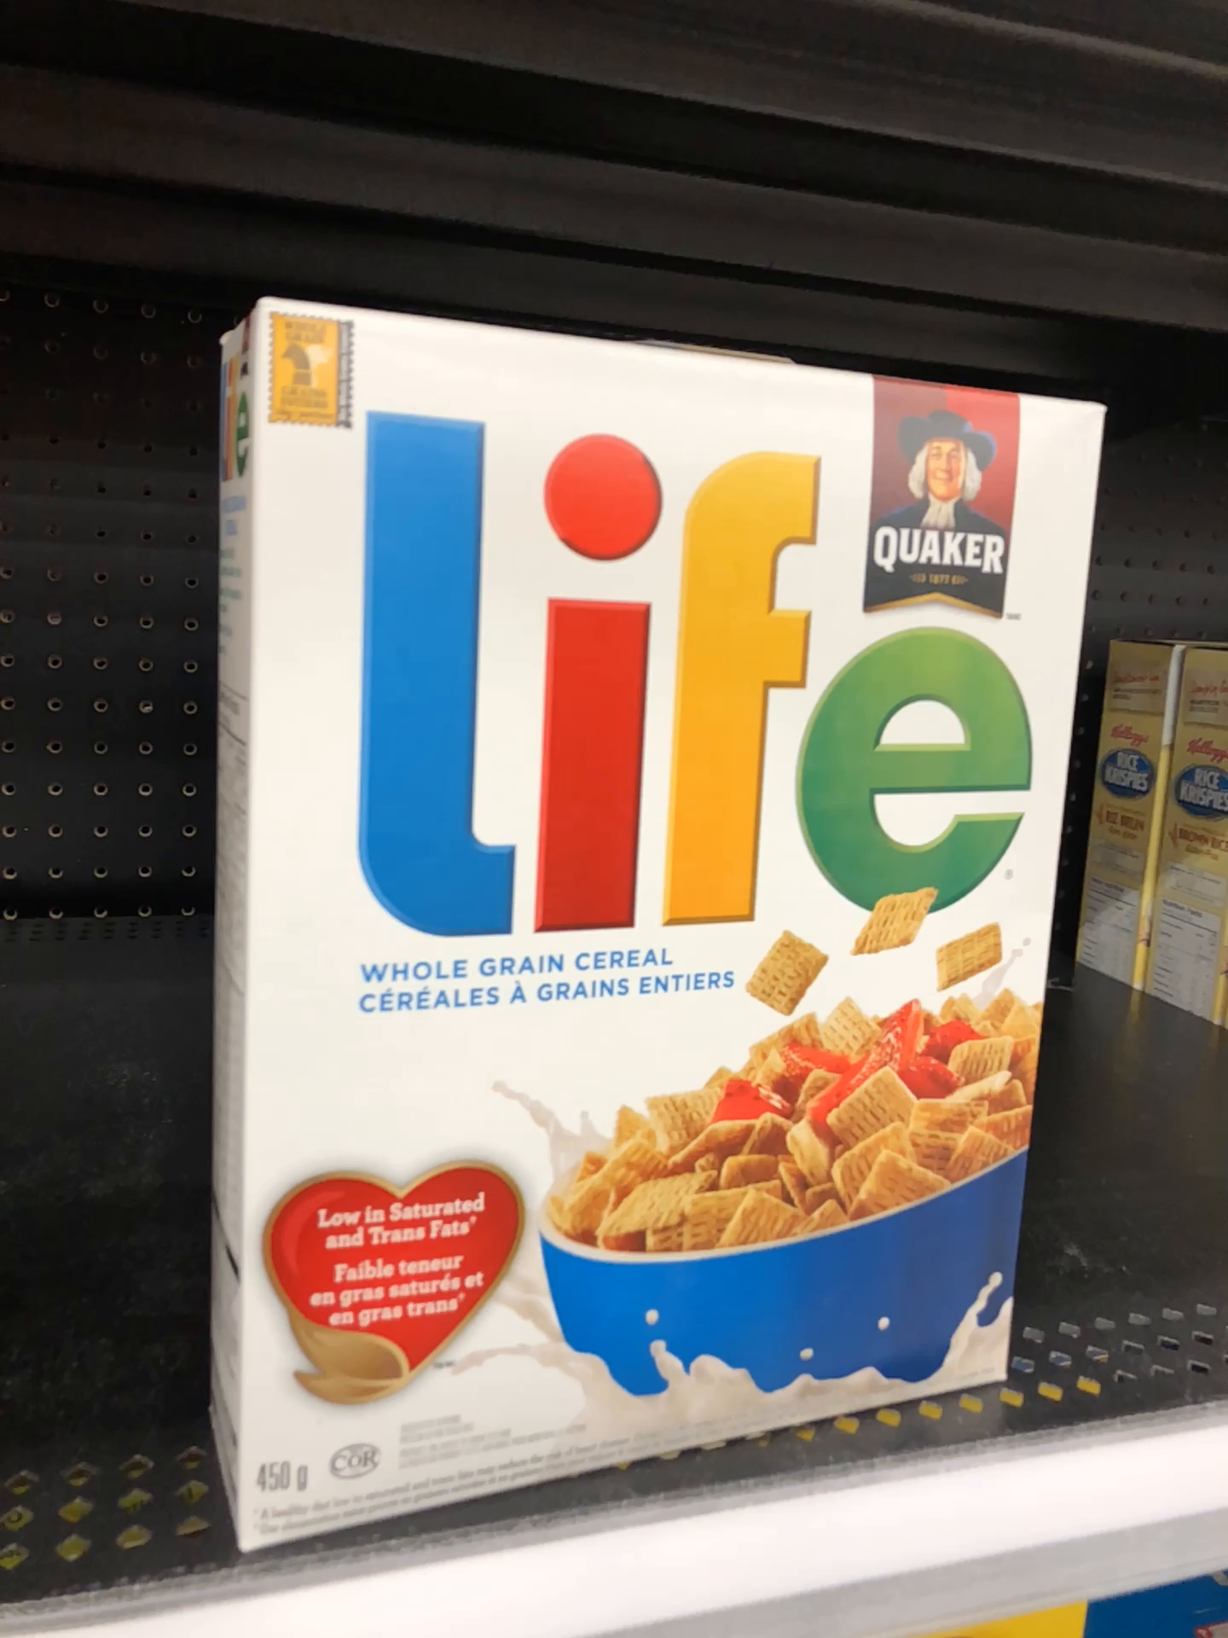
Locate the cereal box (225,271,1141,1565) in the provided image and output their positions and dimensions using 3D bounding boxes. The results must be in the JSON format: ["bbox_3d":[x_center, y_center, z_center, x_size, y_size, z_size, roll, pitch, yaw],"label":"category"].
[{"bbox_3d":[0.014,0.022,0.330,0.200,0.259,0.060,-1,11,-24],"label":"cereal box"}]
